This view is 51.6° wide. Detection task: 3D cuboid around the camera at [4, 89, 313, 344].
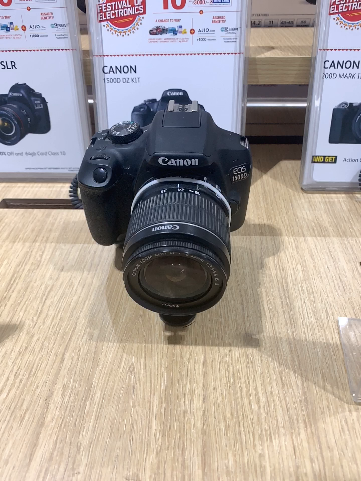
[{"bbox_3d":[-0.007,-0.026,0.262,0.140,0.100,0.161,0,41,3],"label":"camera"}]
